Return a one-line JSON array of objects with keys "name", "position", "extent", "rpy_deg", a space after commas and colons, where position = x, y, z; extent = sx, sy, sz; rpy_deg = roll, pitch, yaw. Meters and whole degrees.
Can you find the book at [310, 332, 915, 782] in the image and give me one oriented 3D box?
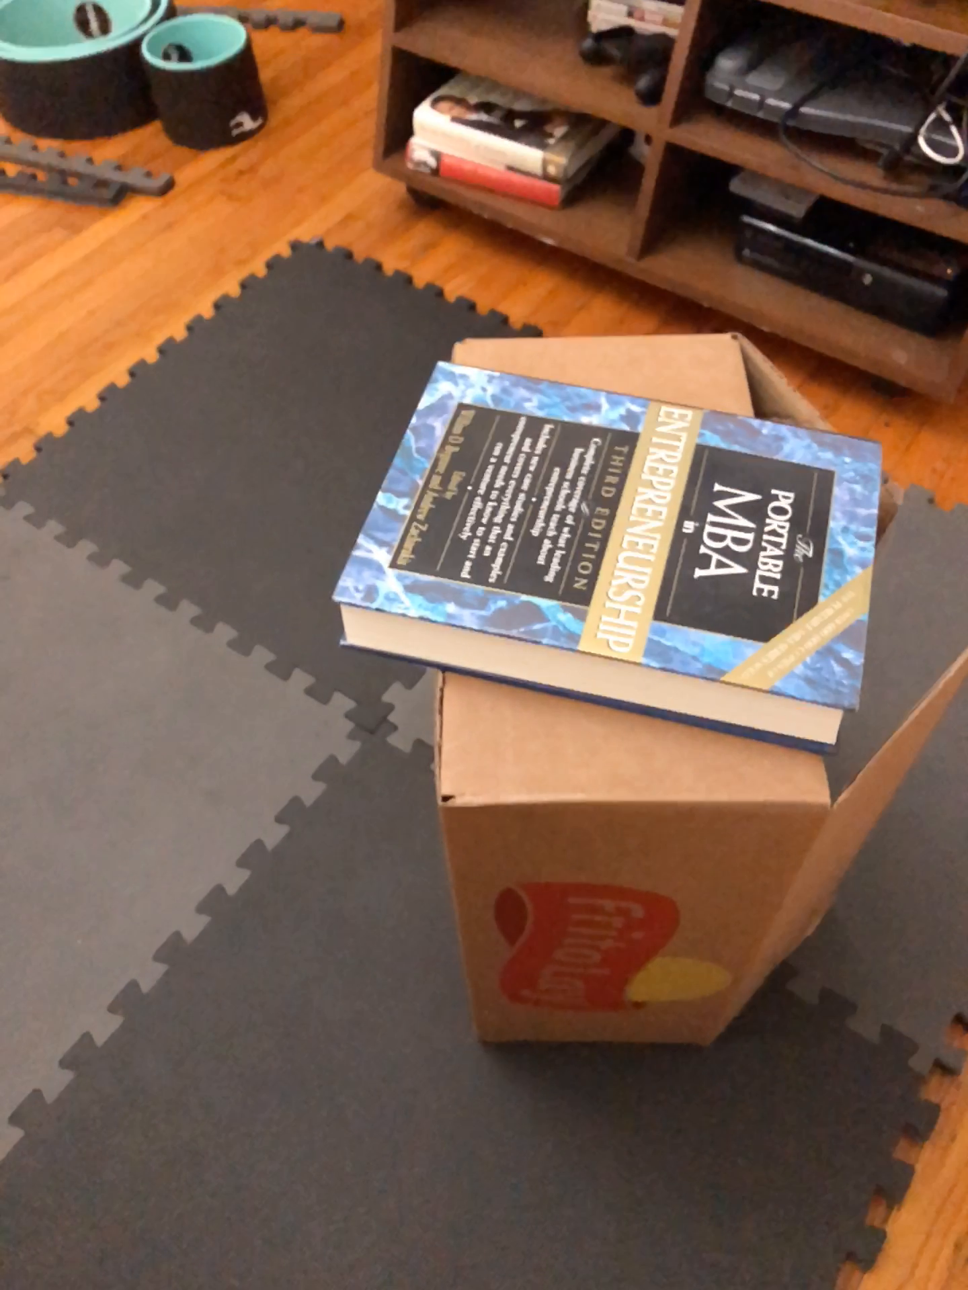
[{"name": "book", "position": [0.076, -0.061, 0.571], "extent": [0.270, 0.060, 0.211], "rpy_deg": [11, 55, 12]}]
